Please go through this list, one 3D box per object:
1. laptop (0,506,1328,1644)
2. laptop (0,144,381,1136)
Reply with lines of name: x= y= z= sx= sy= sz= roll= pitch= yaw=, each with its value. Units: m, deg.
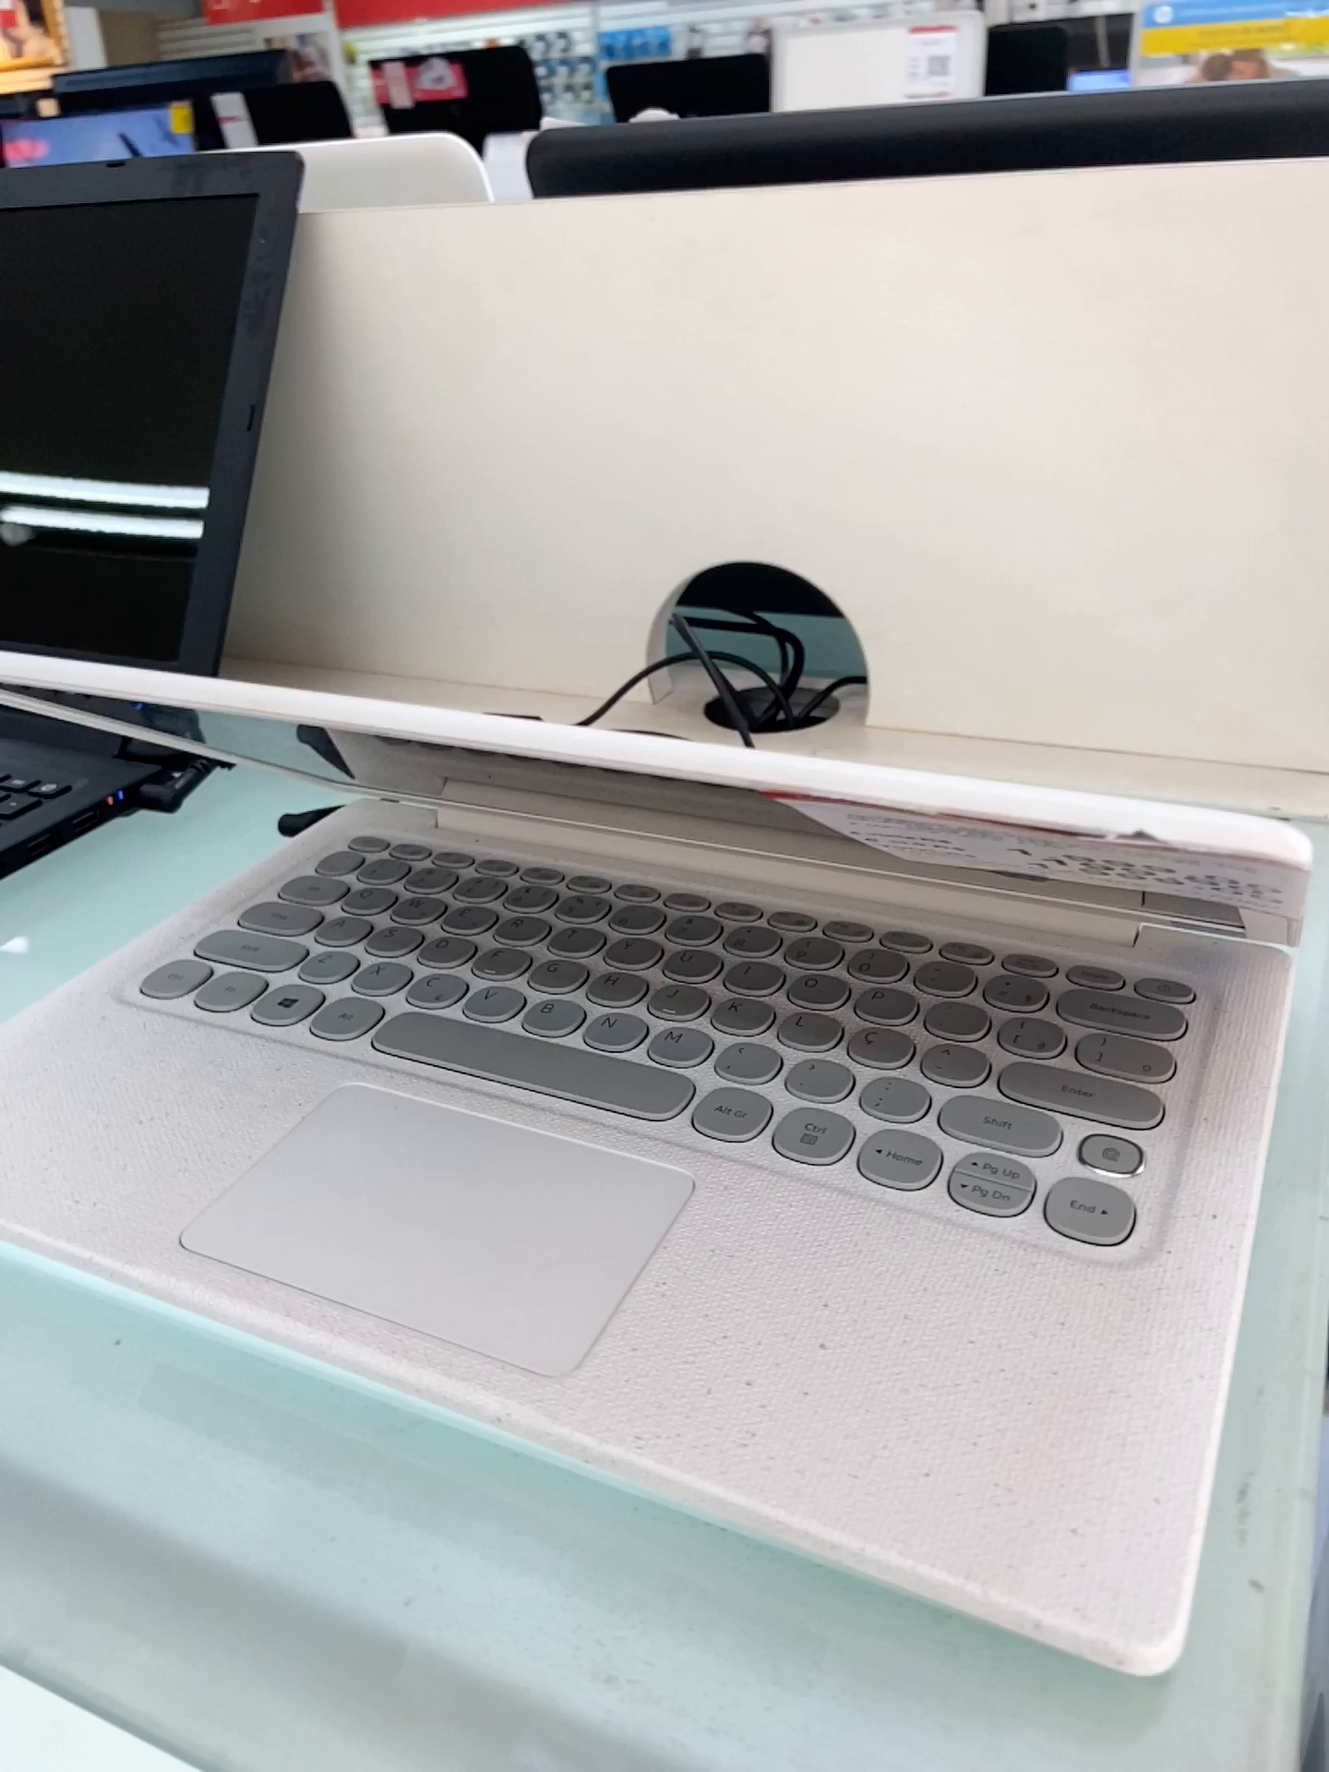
laptop: x=-0.024 y=-0.007 z=0.323 sx=0.312 sy=0.108 sz=0.207 roll=9 pitch=31 yaw=26
laptop: x=-0.402 y=-0.145 z=0.530 sx=0.401 sy=0.213 sz=0.375 roll=10 pitch=31 yaw=26
